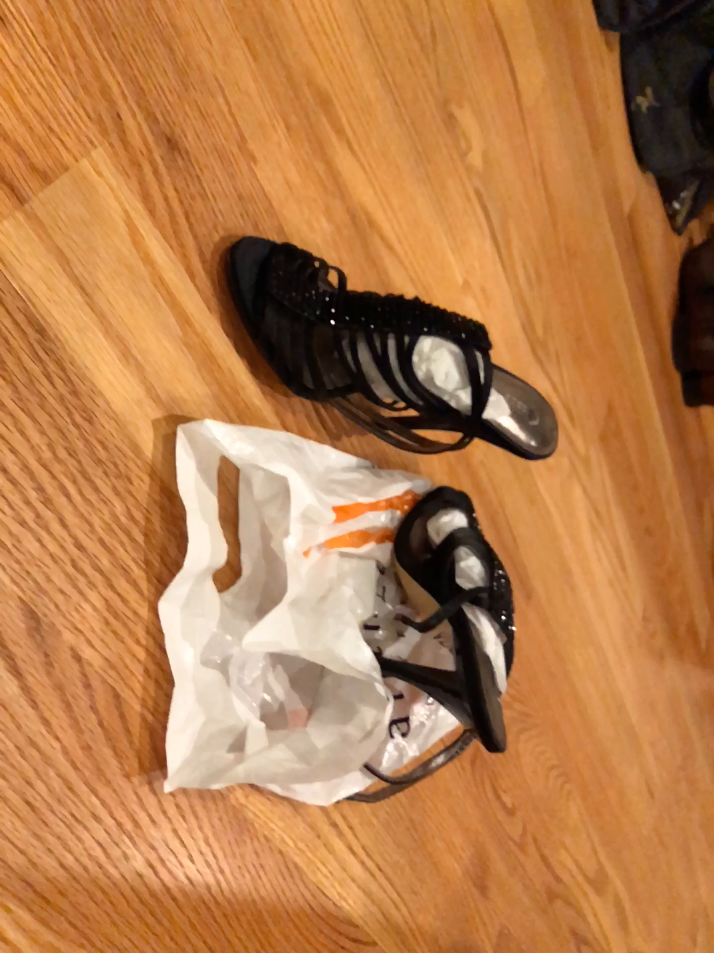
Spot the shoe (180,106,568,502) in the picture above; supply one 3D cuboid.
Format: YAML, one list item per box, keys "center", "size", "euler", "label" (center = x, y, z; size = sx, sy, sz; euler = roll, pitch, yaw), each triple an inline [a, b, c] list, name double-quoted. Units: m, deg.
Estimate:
- center: [0.026, -0.076, 0.453]
  size: [0.218, 0.112, 0.090]
  euler: [43, 53, -47]
  label: "shoe"

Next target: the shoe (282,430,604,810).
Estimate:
- center: [0.068, 0.076, 0.502]
  size: [0.218, 0.112, 0.092]
  euler: [-57, 133, -42]
  label: "shoe"
